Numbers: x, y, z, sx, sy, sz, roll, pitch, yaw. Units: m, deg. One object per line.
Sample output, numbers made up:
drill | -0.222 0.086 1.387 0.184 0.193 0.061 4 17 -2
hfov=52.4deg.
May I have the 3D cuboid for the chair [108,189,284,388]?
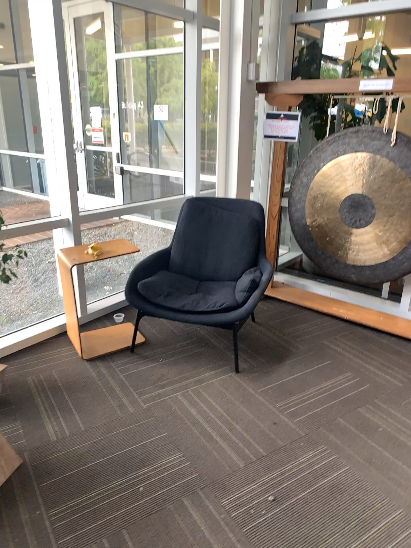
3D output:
chair | -0.008 0.011 2.888 0.901 0.995 0.943 7 20 15
